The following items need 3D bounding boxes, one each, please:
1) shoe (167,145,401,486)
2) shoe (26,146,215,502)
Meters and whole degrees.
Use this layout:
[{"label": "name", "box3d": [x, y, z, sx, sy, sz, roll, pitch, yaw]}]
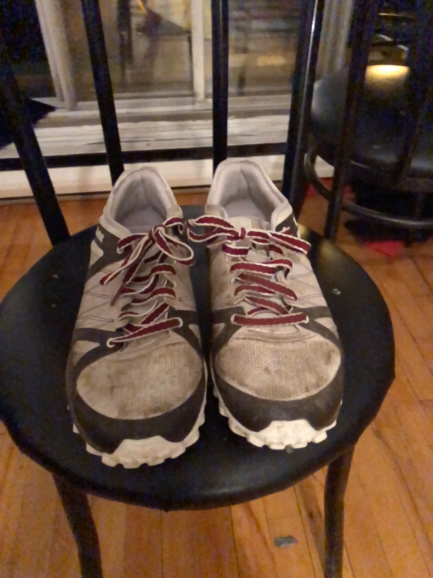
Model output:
[{"label": "shoe", "box3d": [0.028, -0.009, 0.421, 0.120, 0.099, 0.313, -5, 42, -5]}, {"label": "shoe", "box3d": [-0.071, -0.003, 0.406, 0.100, 0.099, 0.313, -5, 42, -5]}]
